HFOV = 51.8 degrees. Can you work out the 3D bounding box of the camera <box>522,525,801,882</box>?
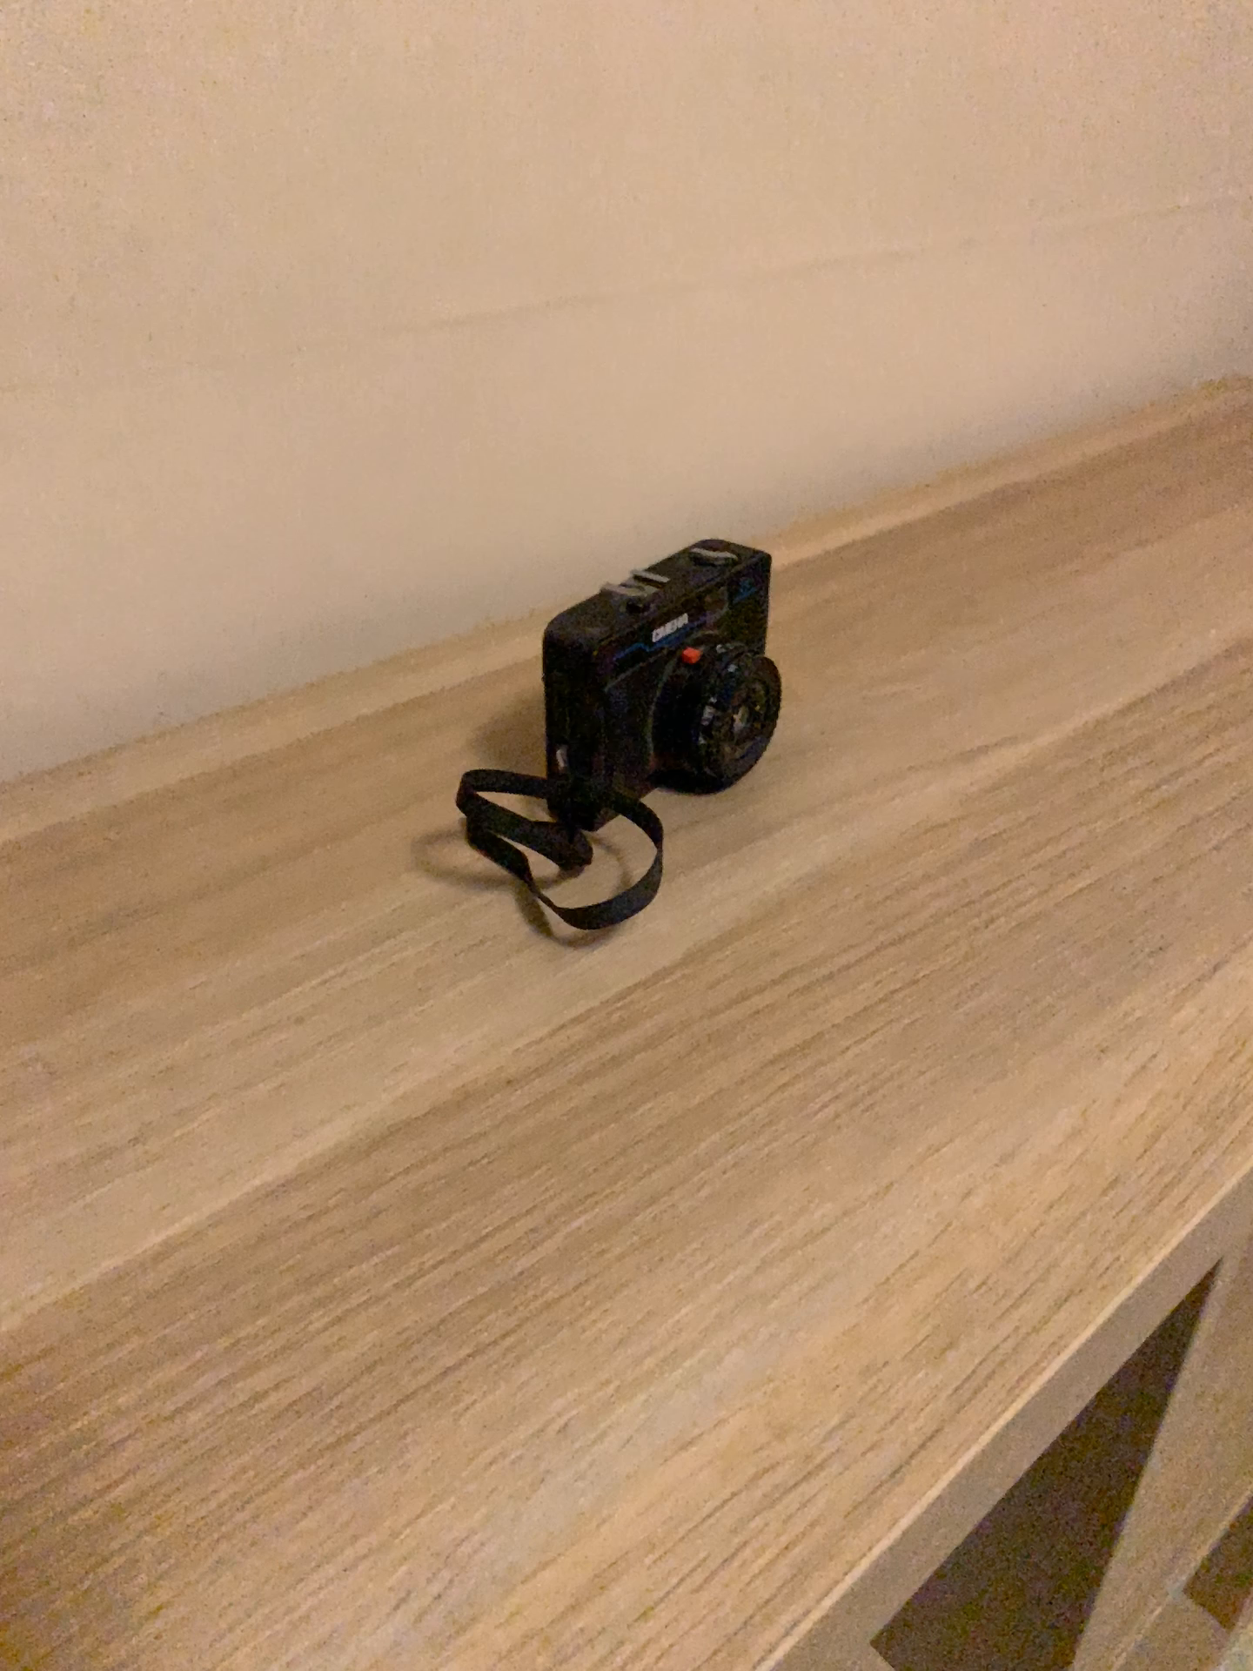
[{"bbox_3d":[0.013,-0.052,0.475,0.040,0.089,0.111,25,39,29],"label":"camera"}]
